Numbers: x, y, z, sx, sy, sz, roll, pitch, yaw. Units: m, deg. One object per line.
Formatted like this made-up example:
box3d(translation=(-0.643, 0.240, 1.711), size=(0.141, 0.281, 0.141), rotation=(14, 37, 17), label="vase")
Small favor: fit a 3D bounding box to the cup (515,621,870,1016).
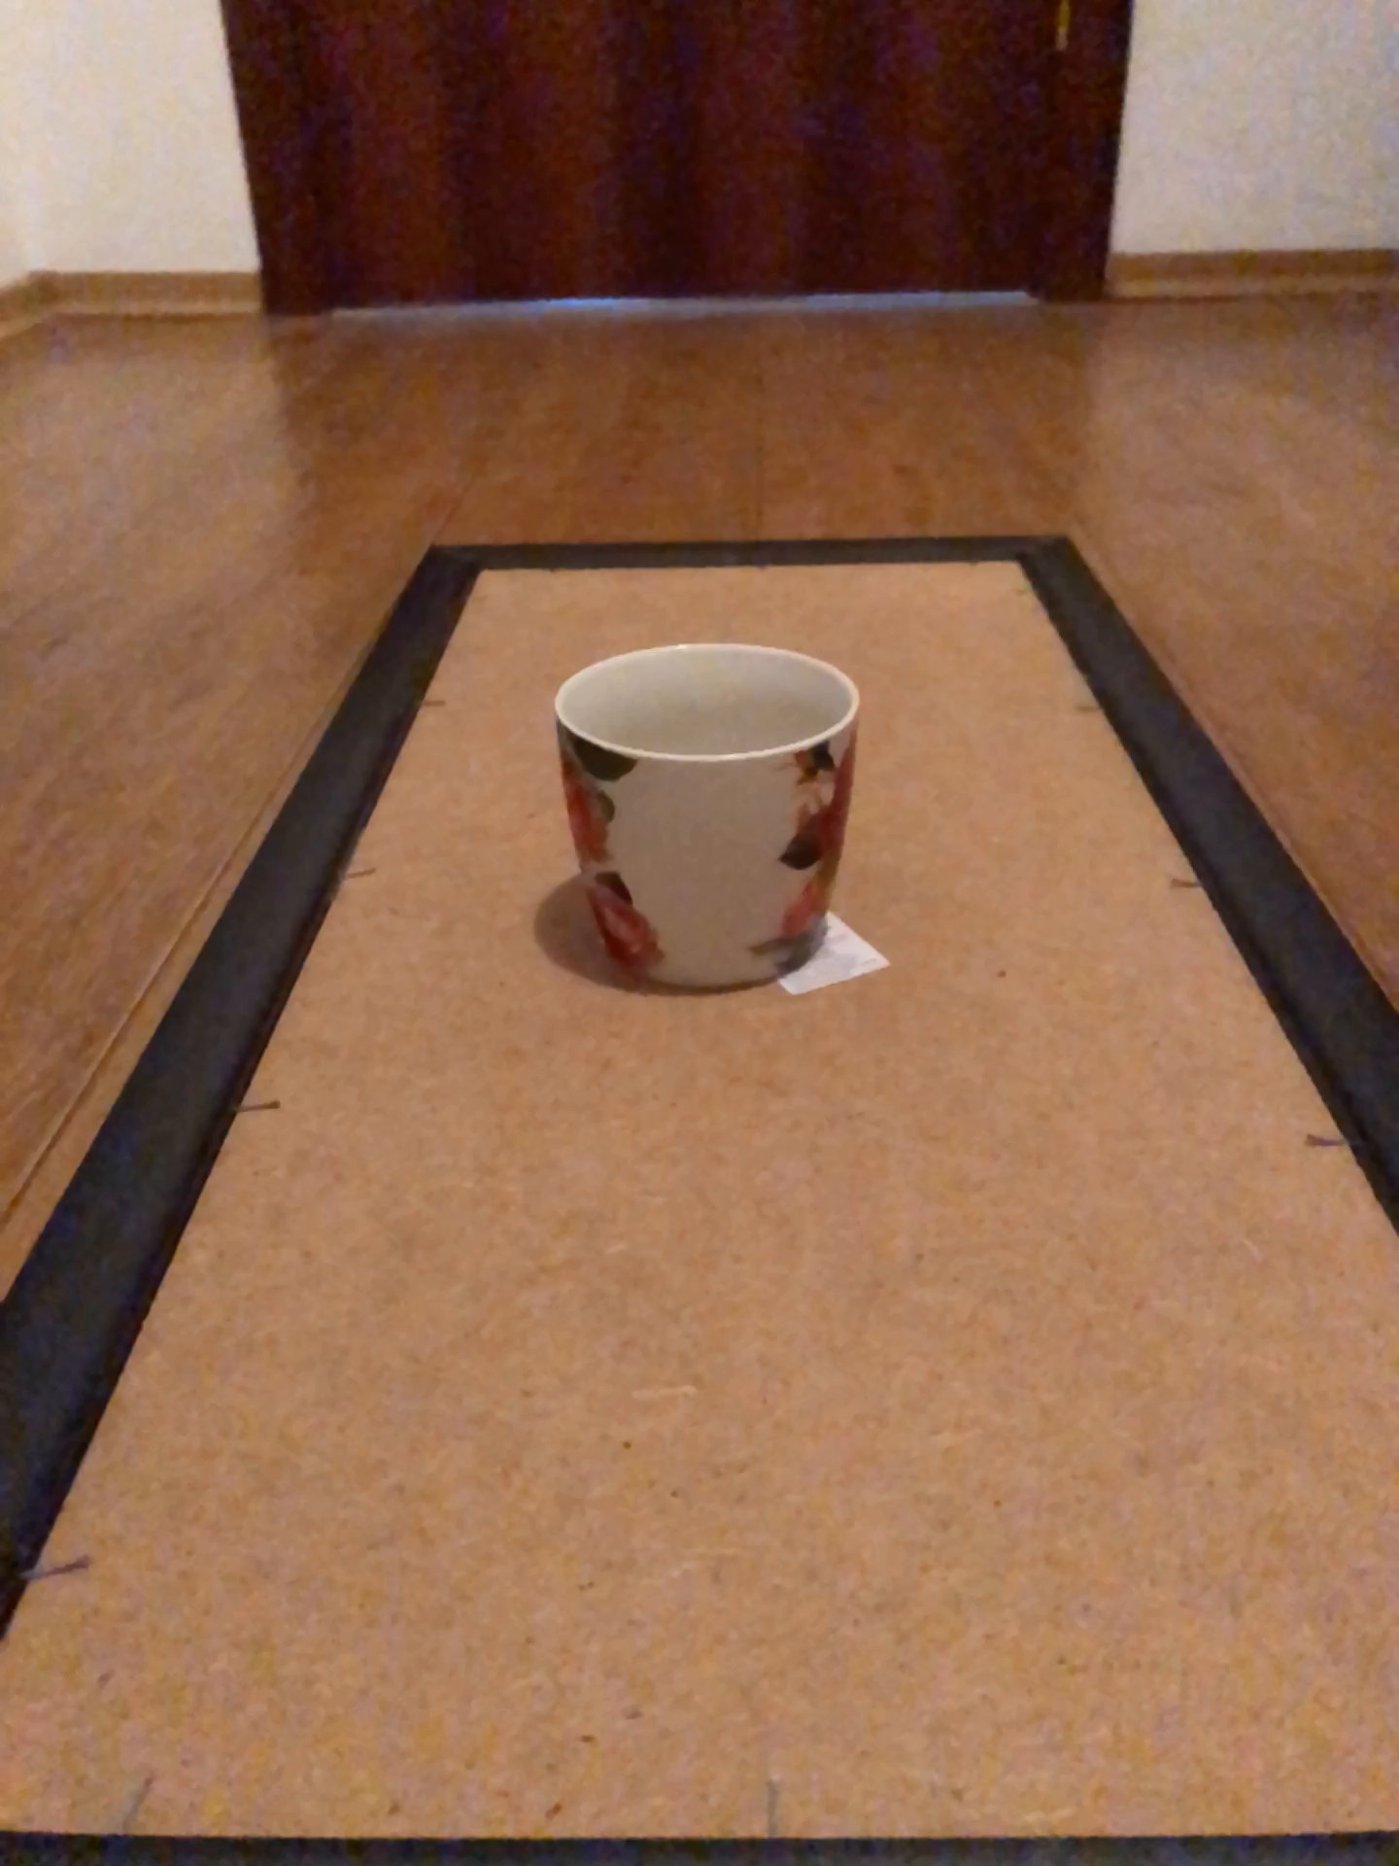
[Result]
box3d(translation=(-0.001, -0.041, 0.496), size=(0.098, 0.079, 0.122), rotation=(-1, 29, 0), label="cup")
